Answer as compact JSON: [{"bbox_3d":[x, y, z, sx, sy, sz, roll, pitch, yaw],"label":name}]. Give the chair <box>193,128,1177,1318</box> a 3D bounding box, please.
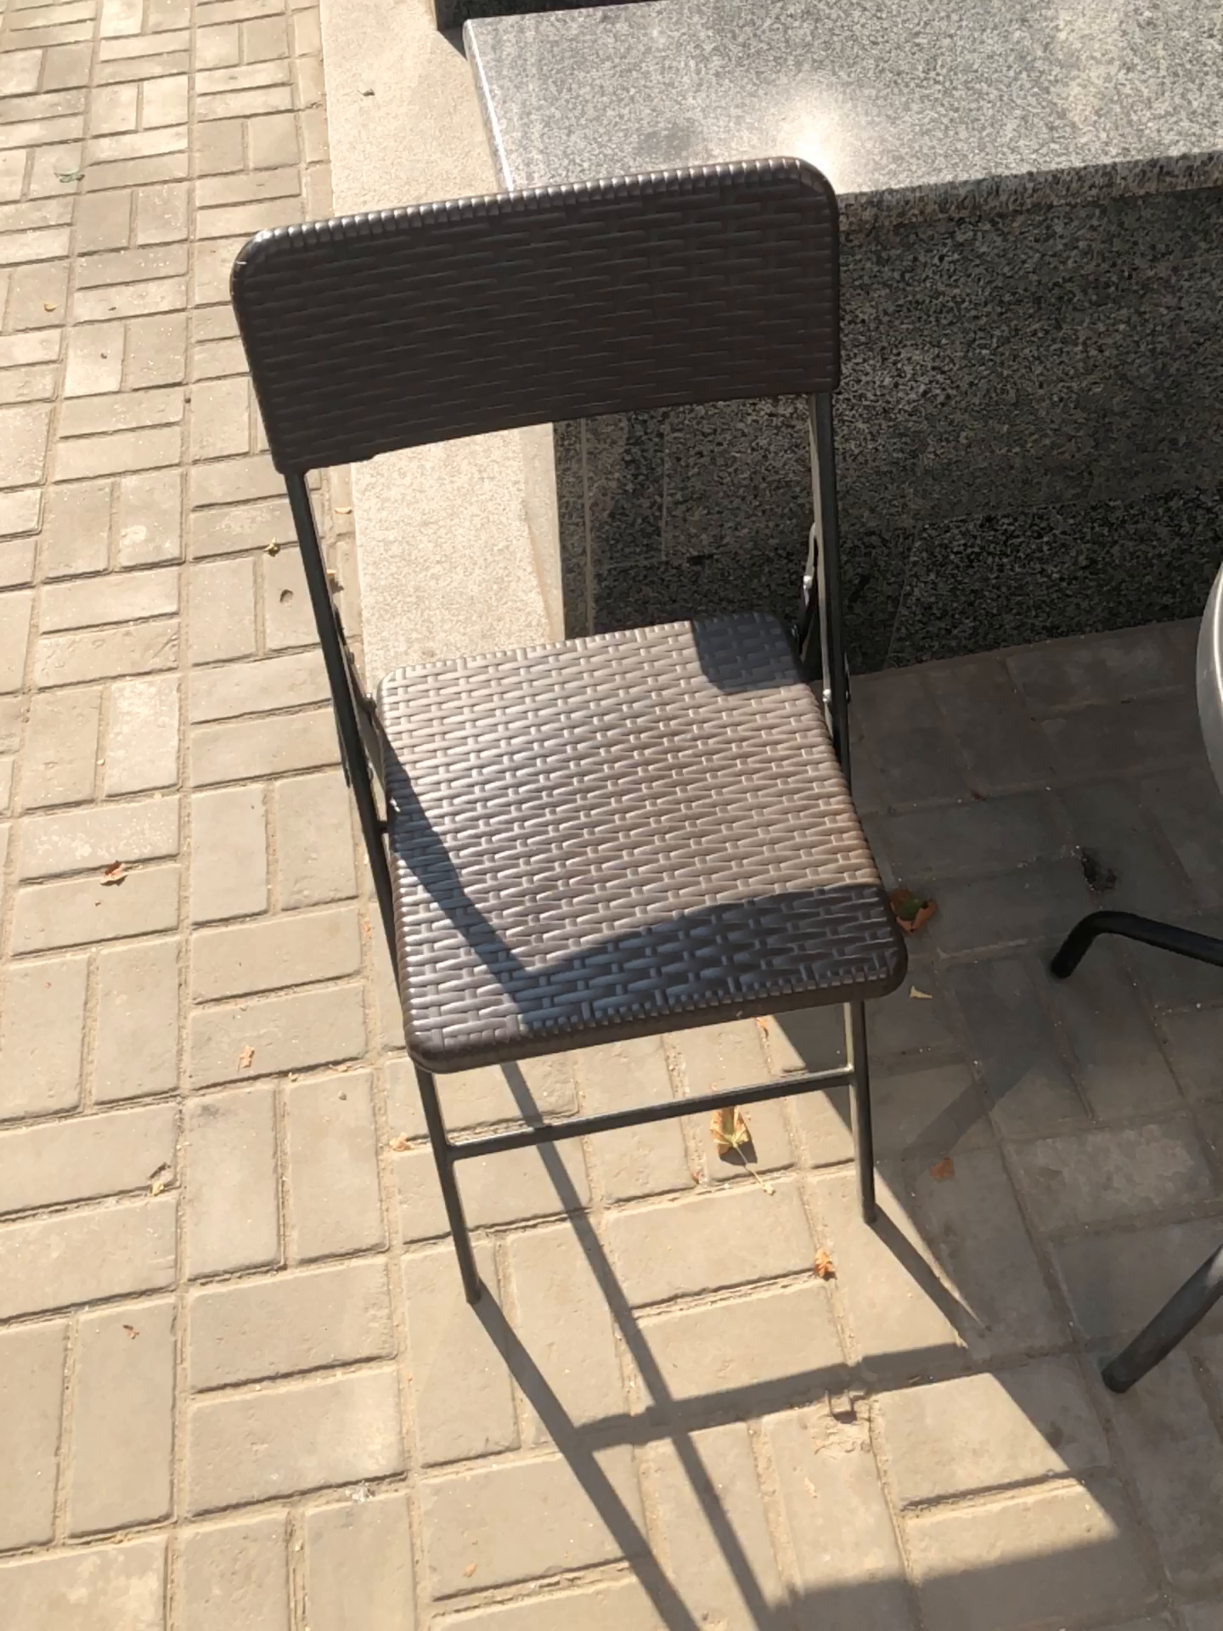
[{"bbox_3d":[0.000,-0.016,1.059,0.450,0.748,0.512,-10,54,-6],"label":"chair"}]
